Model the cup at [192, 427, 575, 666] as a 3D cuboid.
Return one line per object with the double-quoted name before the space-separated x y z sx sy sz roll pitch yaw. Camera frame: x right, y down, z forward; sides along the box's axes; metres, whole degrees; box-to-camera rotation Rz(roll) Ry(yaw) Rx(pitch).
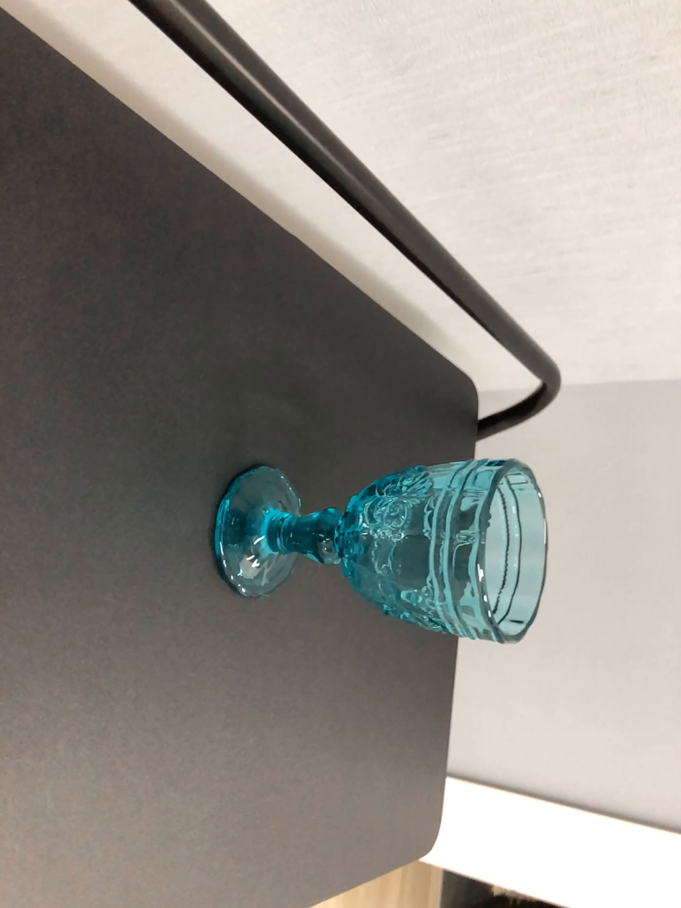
"cup" 0.022 0.046 0.386 0.085 0.164 0.095 26 68 -54
